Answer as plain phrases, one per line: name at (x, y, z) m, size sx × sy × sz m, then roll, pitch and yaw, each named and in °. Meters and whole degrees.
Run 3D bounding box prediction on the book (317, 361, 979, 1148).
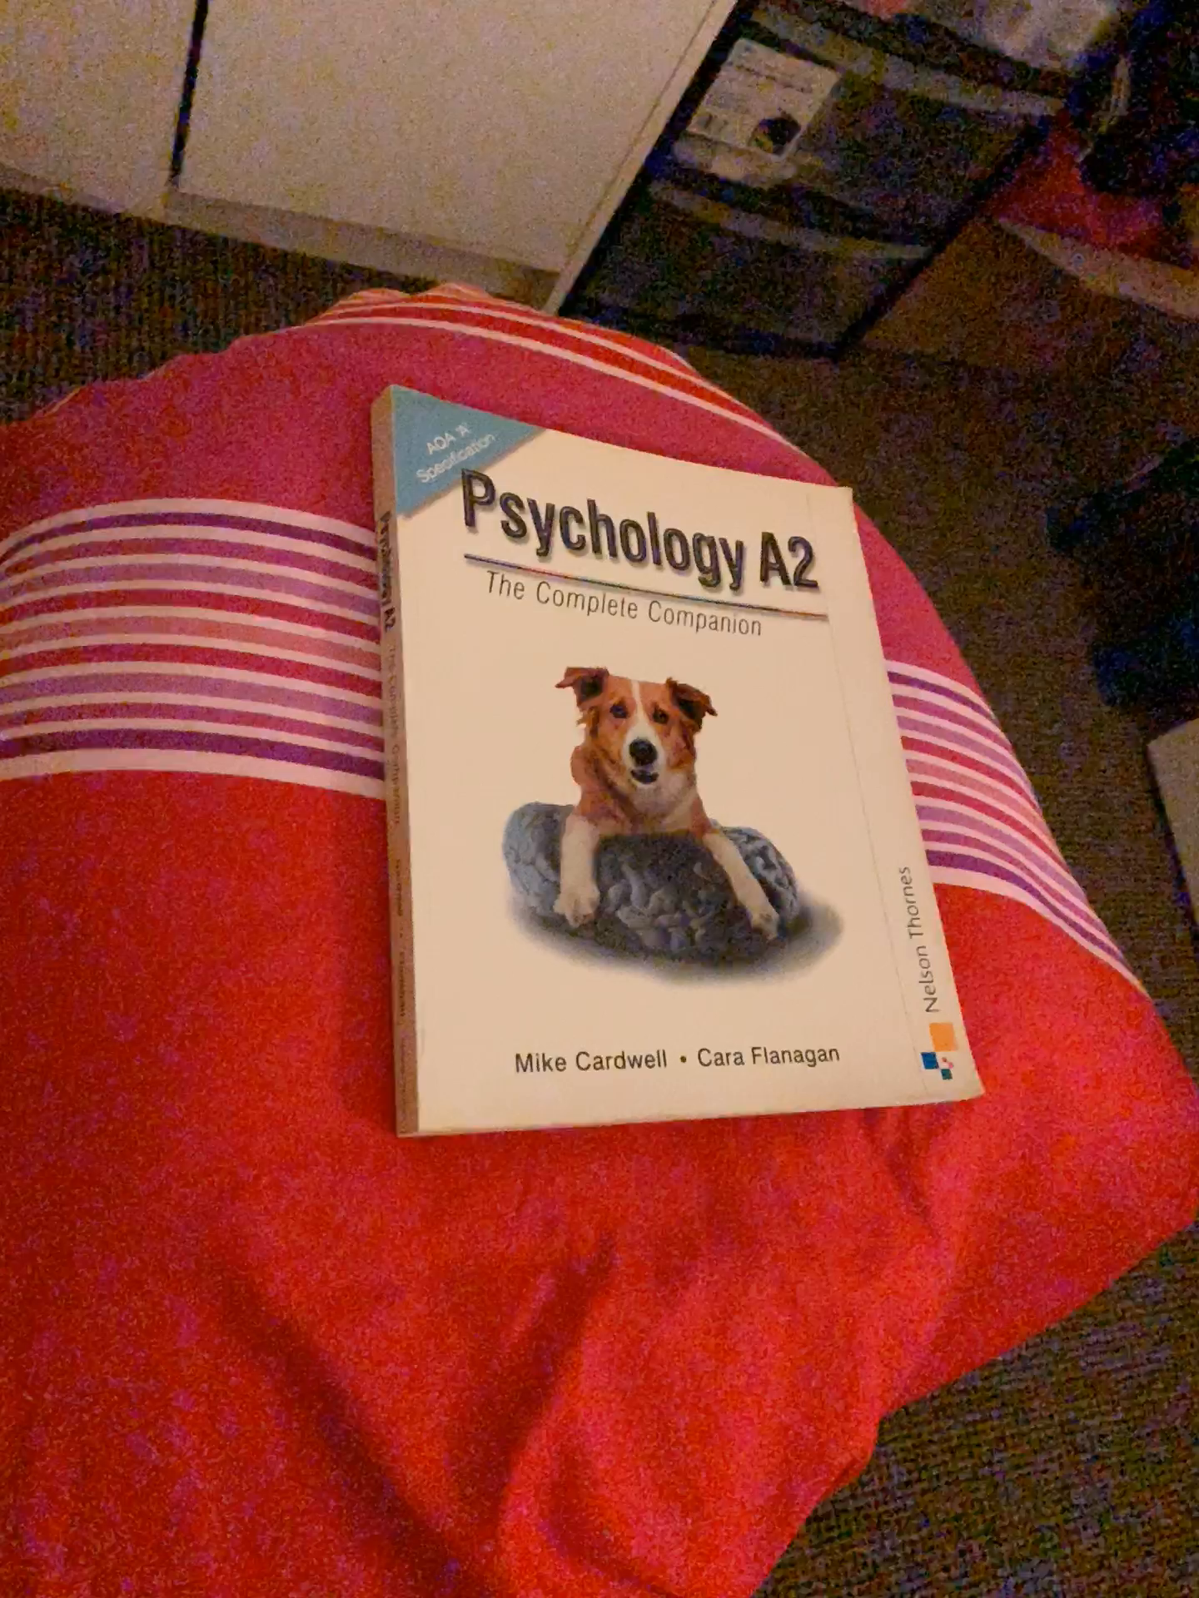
book at (0.015, -0.021, 0.492) m, size 0.240 × 0.040 × 0.291 m, roll 3°, pitch 68°, yaw -25°
